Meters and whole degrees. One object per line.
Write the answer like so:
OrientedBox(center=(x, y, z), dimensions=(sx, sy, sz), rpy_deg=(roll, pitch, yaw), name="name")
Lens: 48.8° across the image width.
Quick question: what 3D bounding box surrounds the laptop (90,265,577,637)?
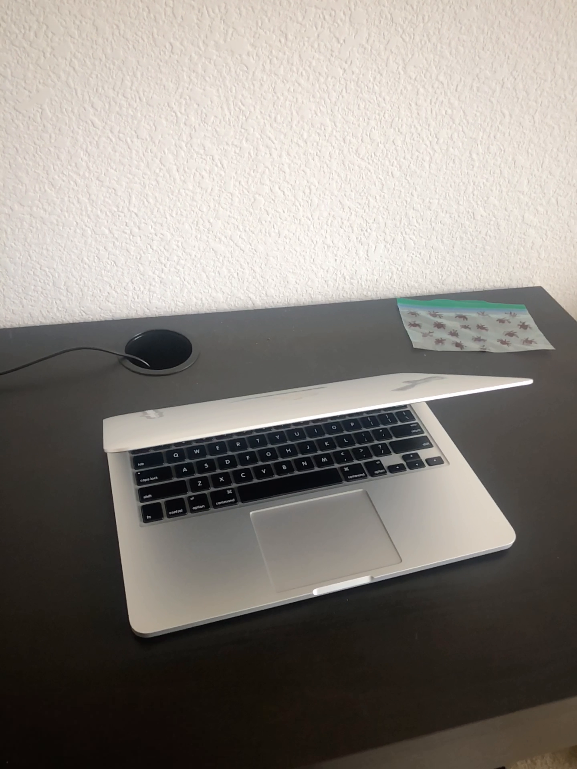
OrientedBox(center=(0.015, 0.030, 0.513), dimensions=(0.309, 0.133, 0.225), rpy_deg=(-8, 41, -16), name="laptop")
